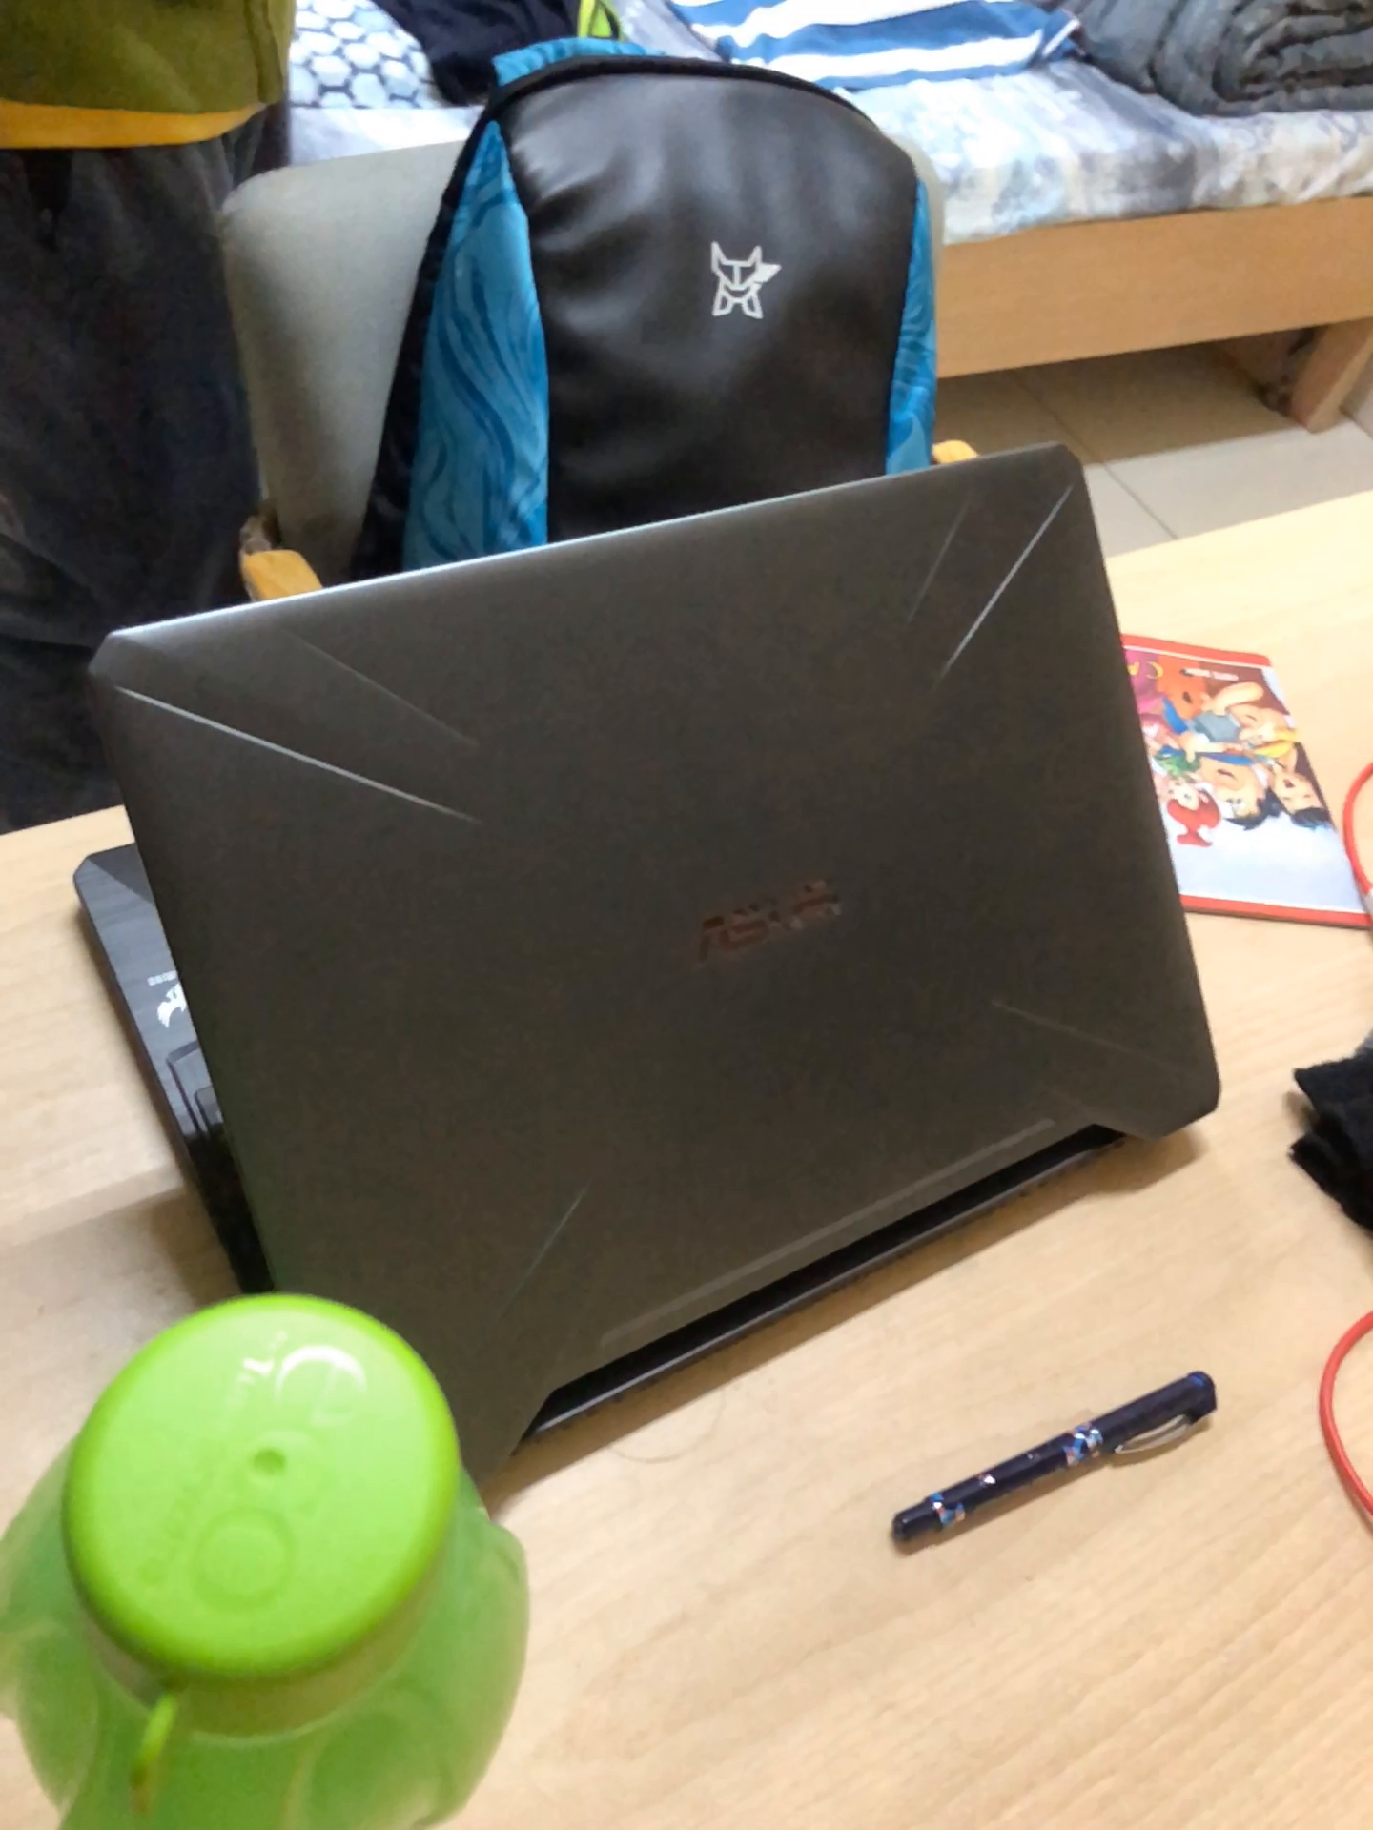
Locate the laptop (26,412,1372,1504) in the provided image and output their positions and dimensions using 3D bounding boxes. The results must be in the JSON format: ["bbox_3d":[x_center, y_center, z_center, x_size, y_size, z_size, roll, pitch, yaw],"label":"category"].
[{"bbox_3d":[0.005,-0.016,0.500,0.340,0.147,0.248,-18,57,-28],"label":"laptop"}]
